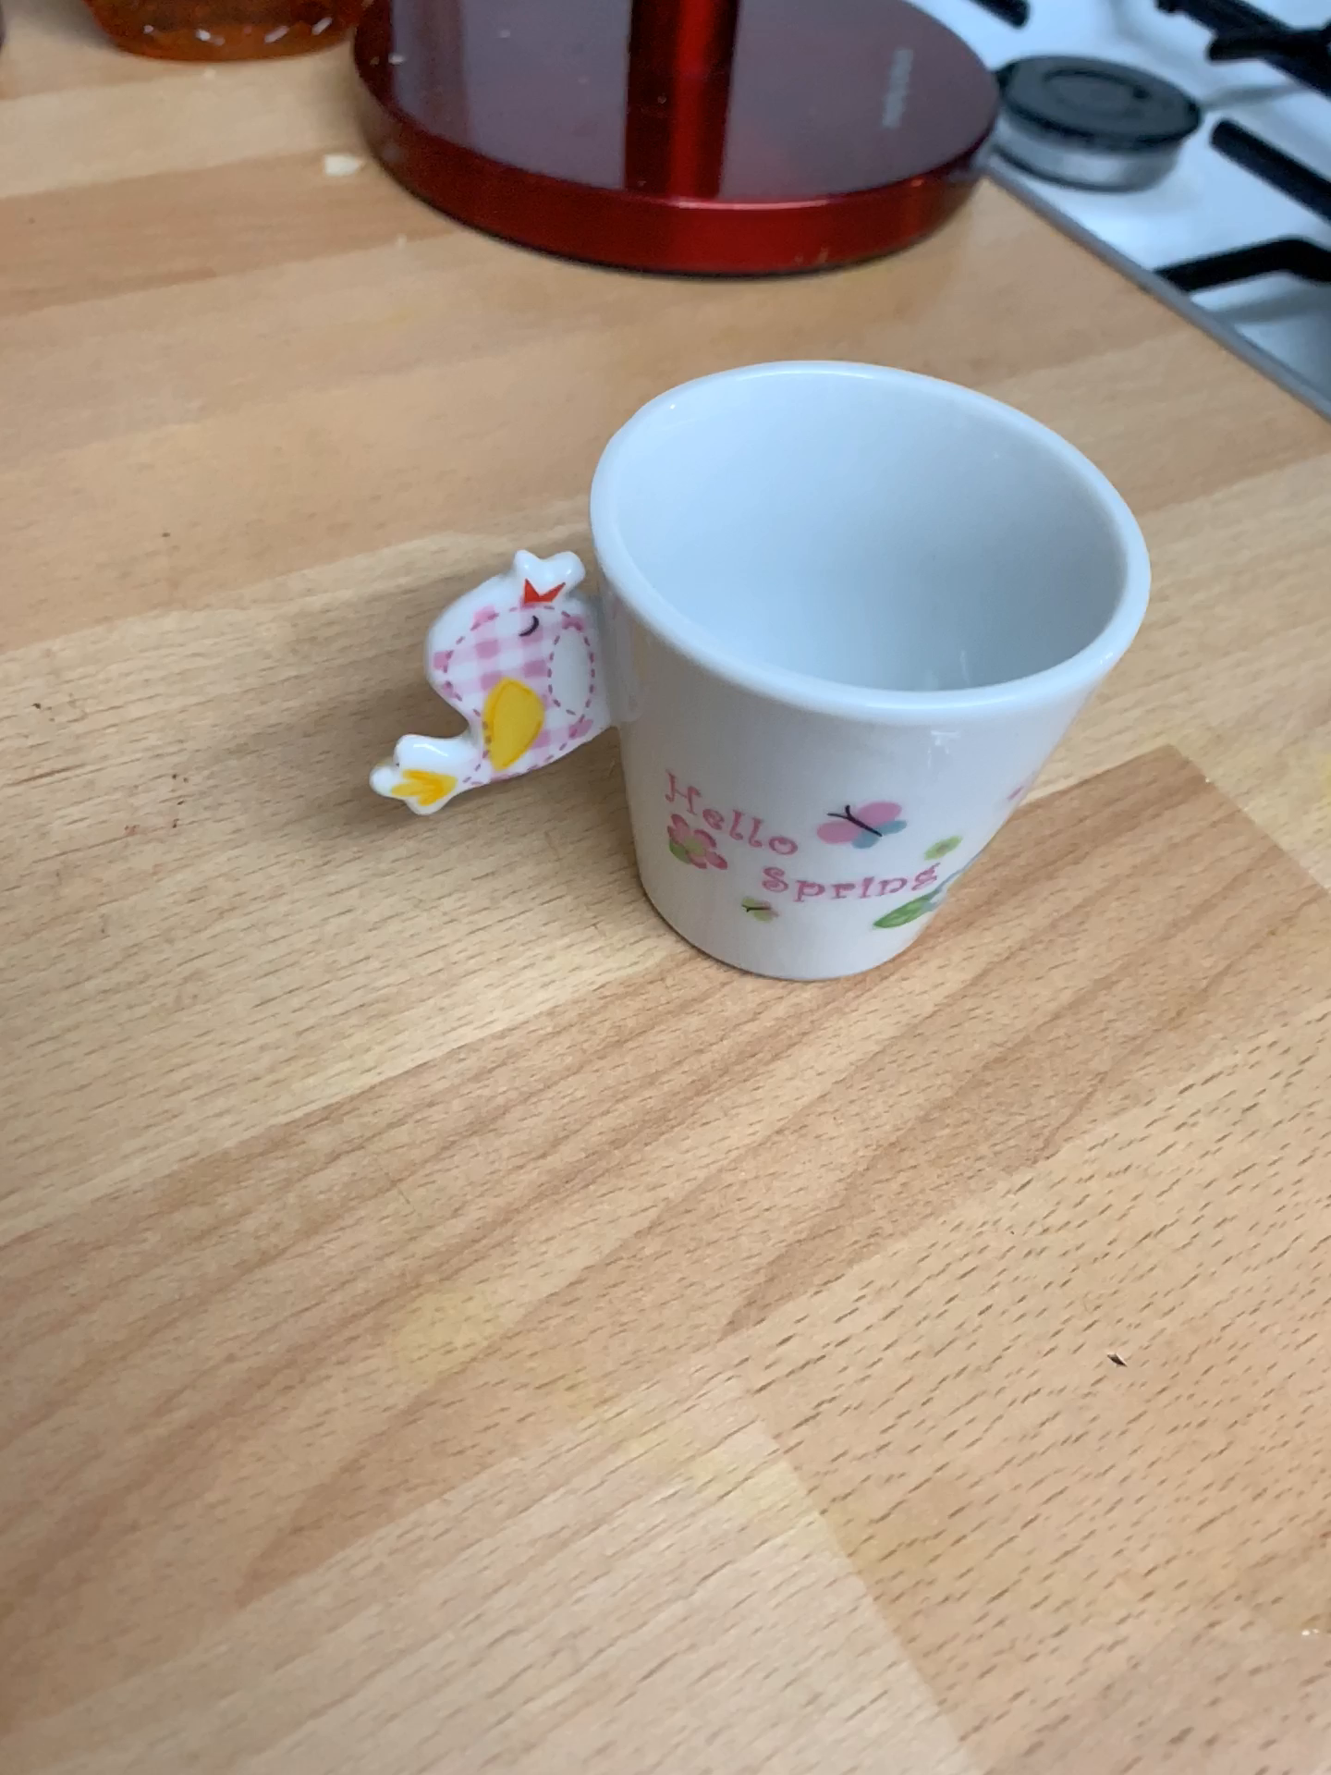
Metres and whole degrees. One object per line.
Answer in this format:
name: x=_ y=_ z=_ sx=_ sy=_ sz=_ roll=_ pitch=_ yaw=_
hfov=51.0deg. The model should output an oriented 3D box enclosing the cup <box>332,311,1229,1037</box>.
cup: x=0.007 y=-0.027 z=0.164 sx=0.080 sy=0.050 sz=0.060 roll=-8 pitch=52 yaw=-13
